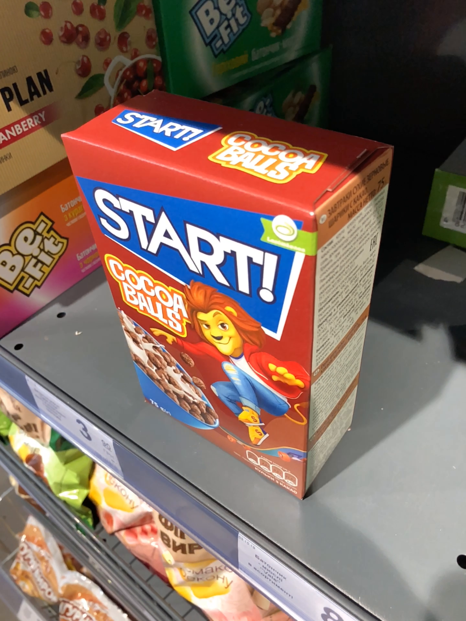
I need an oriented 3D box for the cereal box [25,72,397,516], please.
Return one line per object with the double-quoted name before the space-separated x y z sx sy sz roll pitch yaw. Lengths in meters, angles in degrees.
"cereal box" -0.004 0.000 0.231 0.110 0.169 0.060 24 52 27
